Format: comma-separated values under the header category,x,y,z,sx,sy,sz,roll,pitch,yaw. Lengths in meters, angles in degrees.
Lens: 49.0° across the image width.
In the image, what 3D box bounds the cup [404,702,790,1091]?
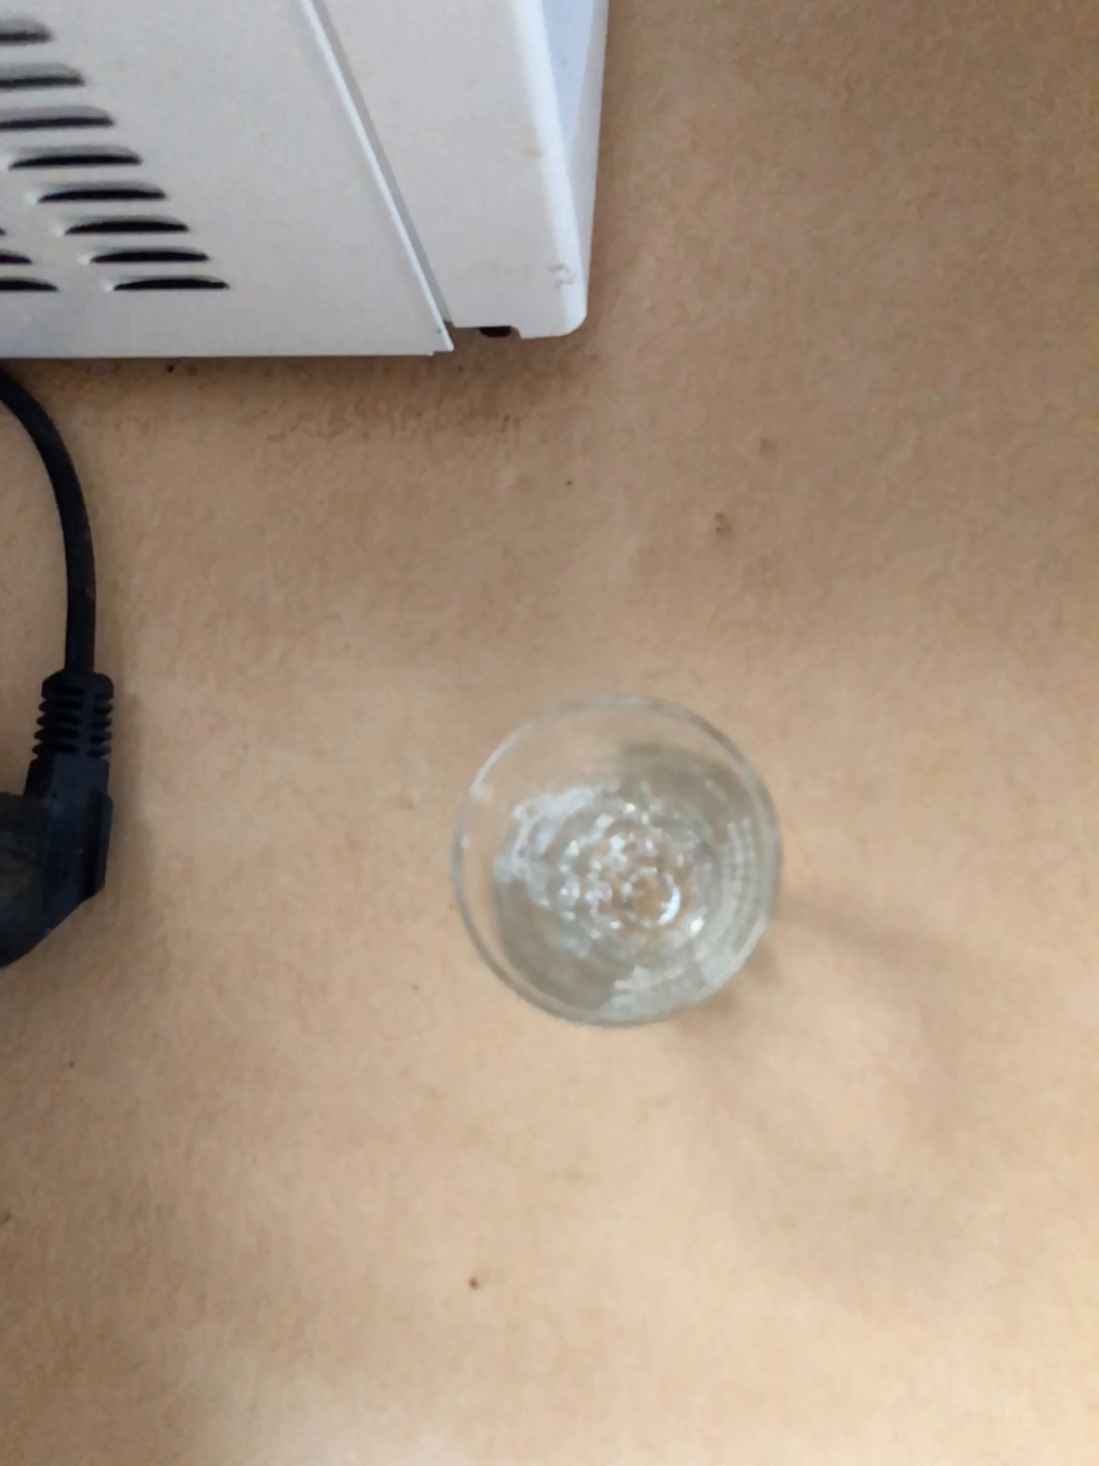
category,x,y,z,sx,sy,sz,roll,pitch,yaw
cup,0.013,0.032,0.219,0.050,0.070,0.050,-2,76,9
